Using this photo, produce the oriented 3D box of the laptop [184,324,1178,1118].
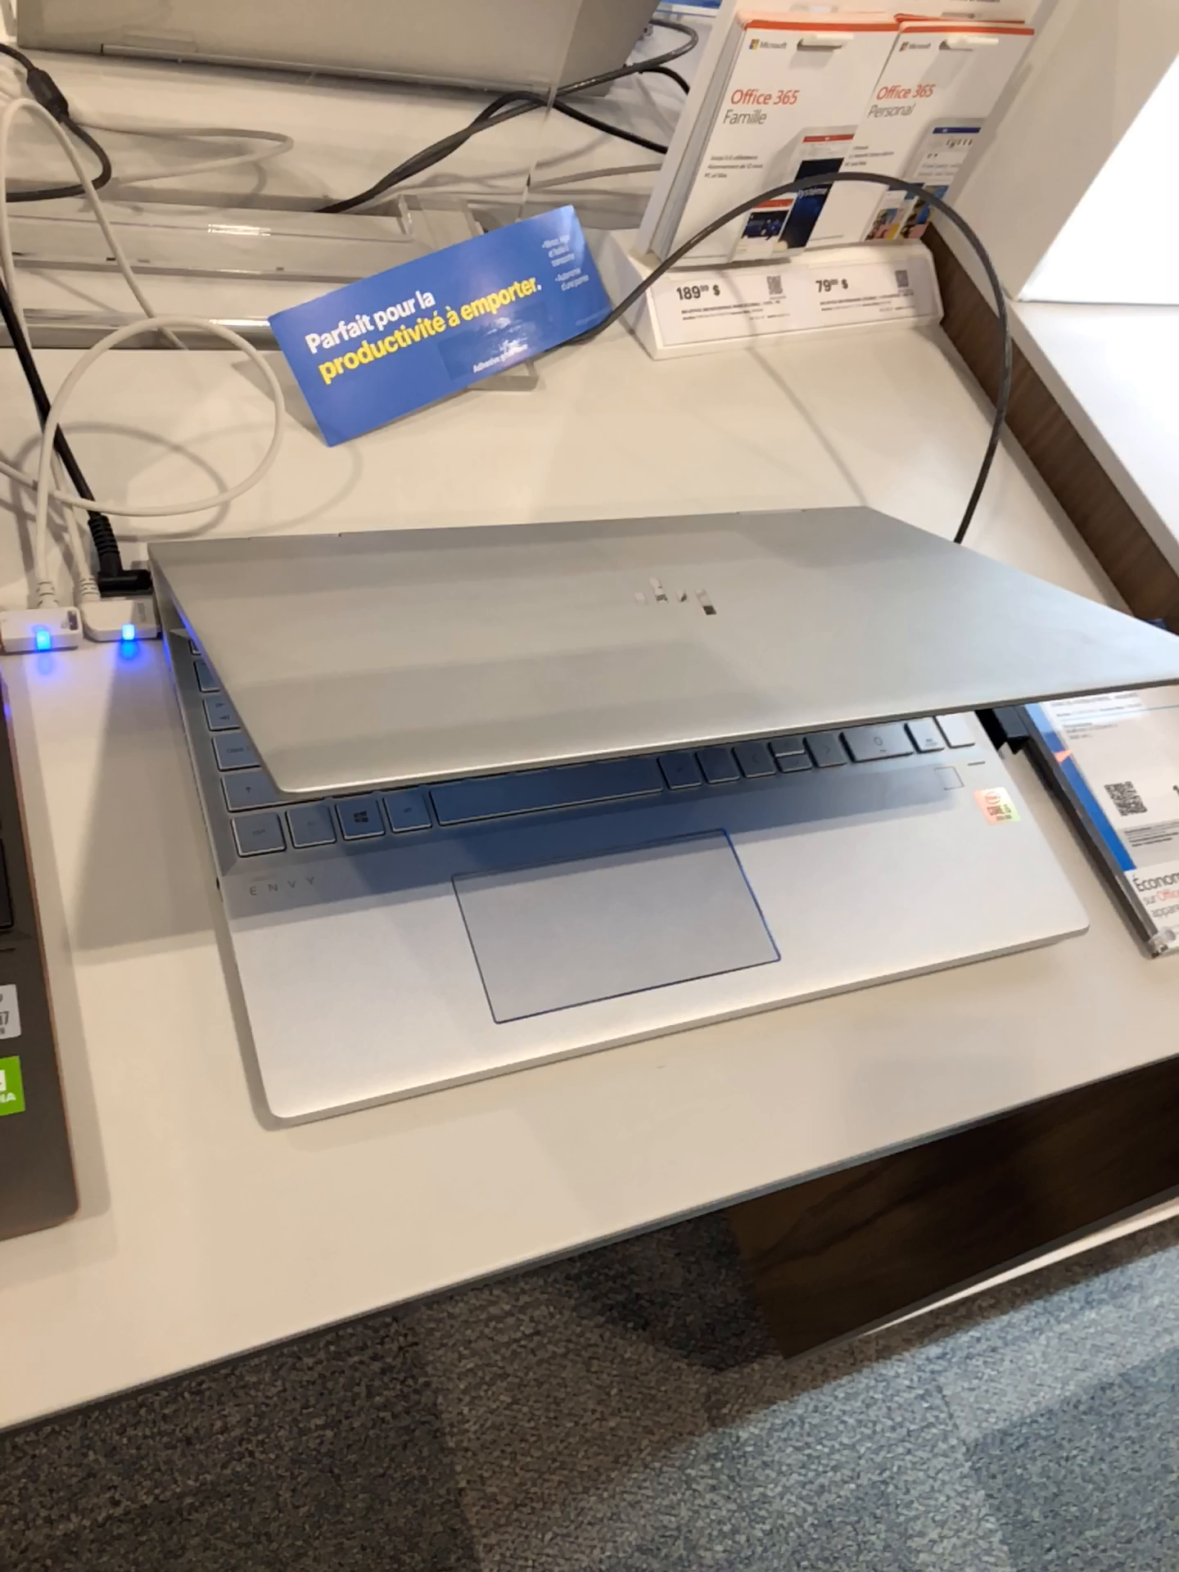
[{"bbox_3d":[0.051,-0.042,0.486,0.346,0.116,0.230,-8,62,-23],"label":"laptop"}]
